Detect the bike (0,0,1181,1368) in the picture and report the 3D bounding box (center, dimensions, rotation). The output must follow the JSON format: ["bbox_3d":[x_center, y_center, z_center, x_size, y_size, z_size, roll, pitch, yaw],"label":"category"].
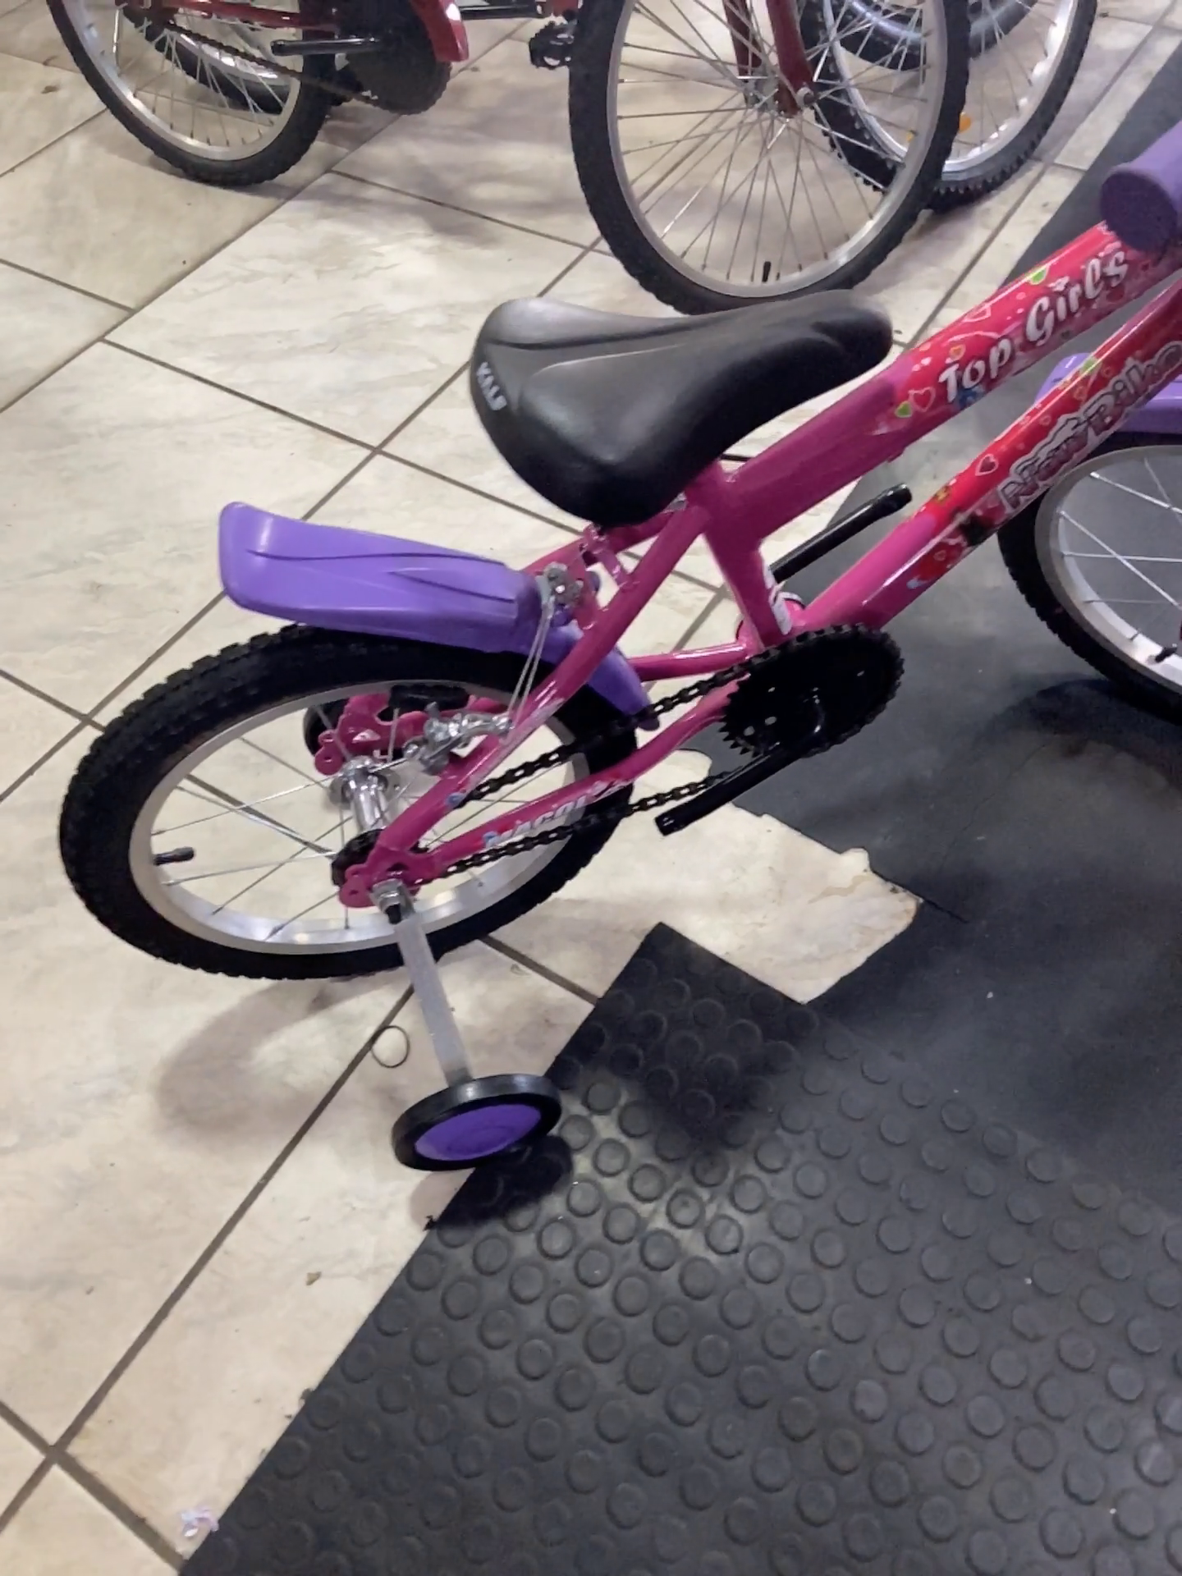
[{"bbox_3d":[0.180,-0.085,0.656,0.921,0.703,0.548,-8,54,-4],"label":"bike"}]
